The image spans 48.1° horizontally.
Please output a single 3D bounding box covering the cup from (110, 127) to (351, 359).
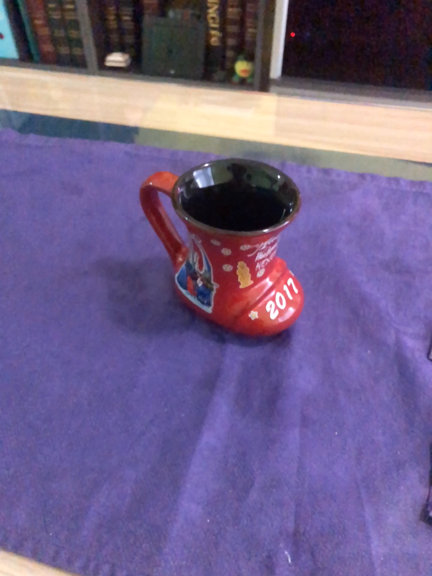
[{"bbox_3d":[0.008,-0.032,0.312,0.120,0.090,0.070,25,51,23],"label":"cup"}]
